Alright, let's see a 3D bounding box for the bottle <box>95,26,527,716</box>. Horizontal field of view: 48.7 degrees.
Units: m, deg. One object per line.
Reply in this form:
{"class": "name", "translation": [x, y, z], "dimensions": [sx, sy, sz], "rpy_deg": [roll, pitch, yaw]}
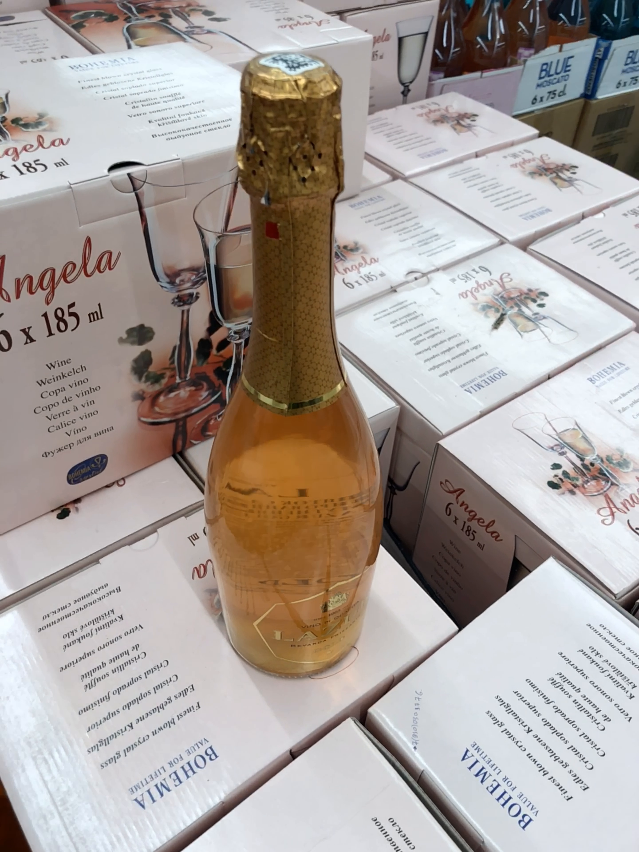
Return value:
{"class": "bottle", "translation": [-0.014, 0.005, 0.313], "dimensions": [0.100, 0.298, 0.090], "rpy_deg": [-15, 48, -19]}
